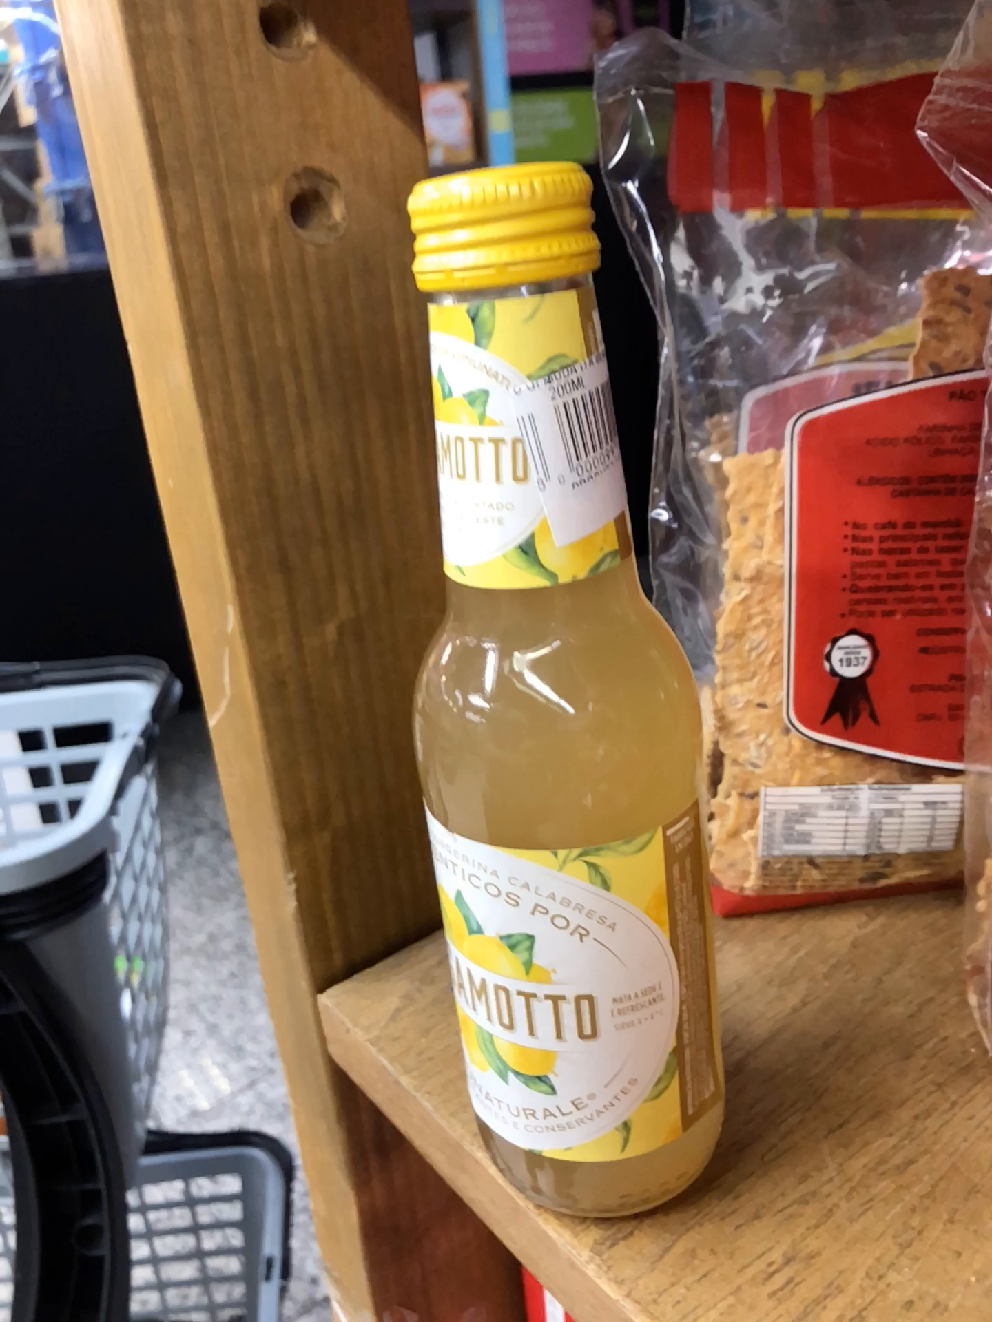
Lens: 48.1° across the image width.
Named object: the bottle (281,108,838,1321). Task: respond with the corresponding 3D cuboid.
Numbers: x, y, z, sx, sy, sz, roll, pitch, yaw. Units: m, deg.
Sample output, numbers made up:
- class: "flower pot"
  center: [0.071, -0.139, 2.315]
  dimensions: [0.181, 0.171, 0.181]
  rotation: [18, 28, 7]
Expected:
- class: "bottle"
  center: [0.018, 0.013, 0.206]
  dimensions: [0.060, 0.199, 0.060]
  rotation: [-5, 22, 2]
